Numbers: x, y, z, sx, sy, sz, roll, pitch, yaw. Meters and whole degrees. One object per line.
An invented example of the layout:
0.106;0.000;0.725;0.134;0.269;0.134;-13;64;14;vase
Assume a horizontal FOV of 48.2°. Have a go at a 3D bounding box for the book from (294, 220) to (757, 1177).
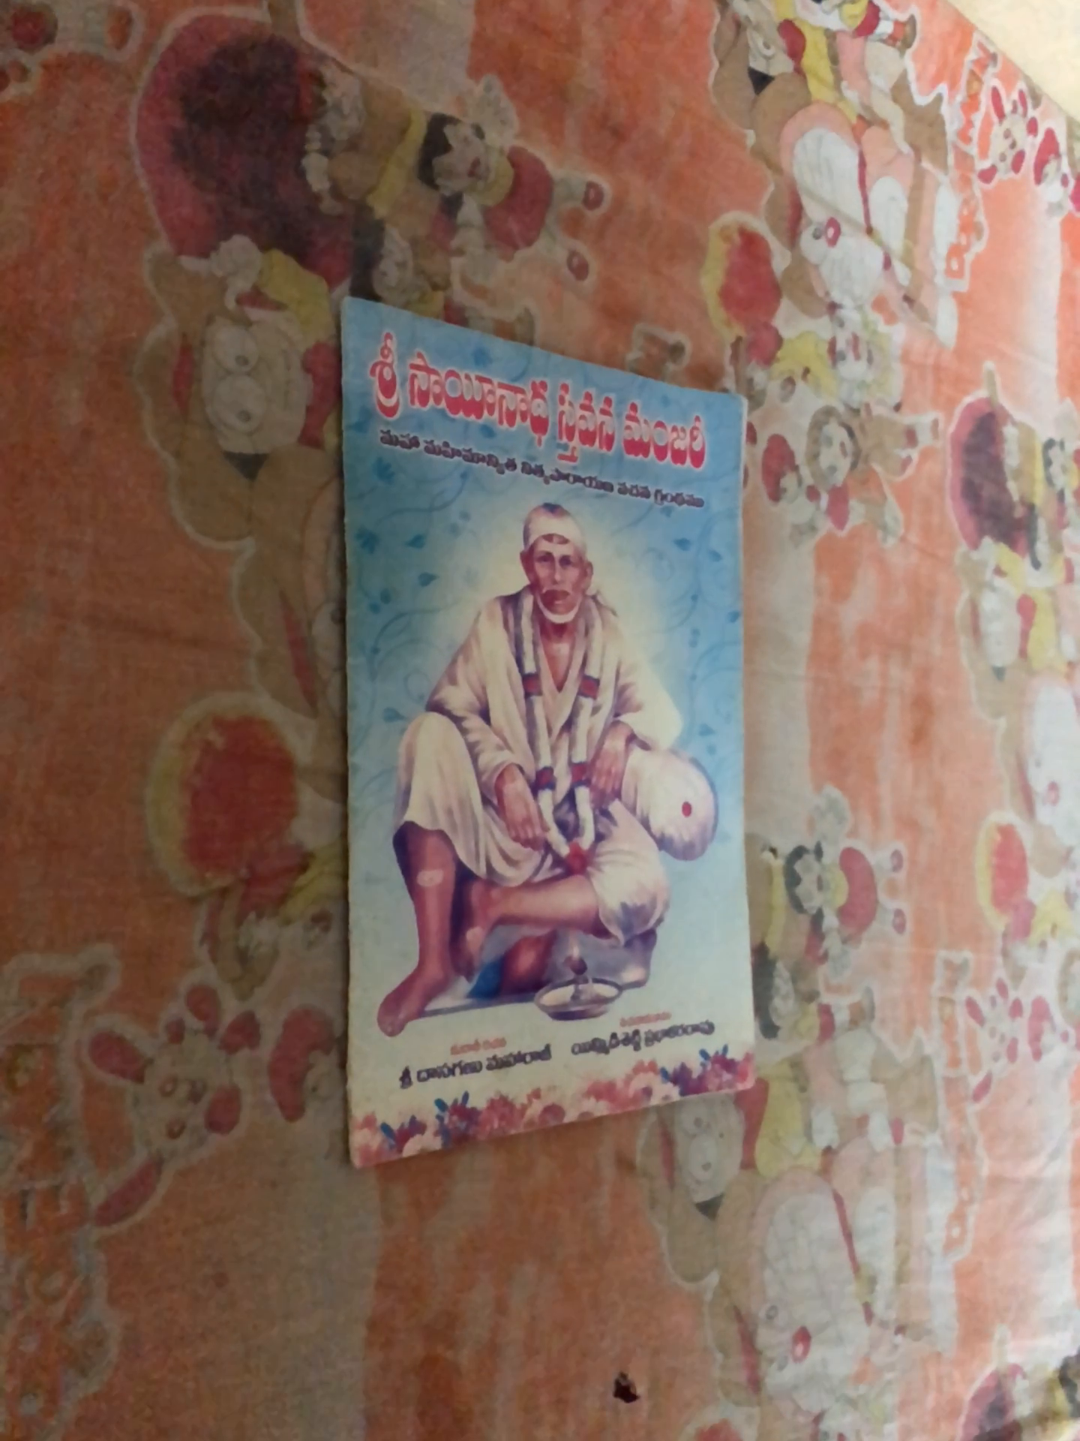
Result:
0.004;-0.004;0.328;0.141;0.020;0.220;4;84;-39;book
